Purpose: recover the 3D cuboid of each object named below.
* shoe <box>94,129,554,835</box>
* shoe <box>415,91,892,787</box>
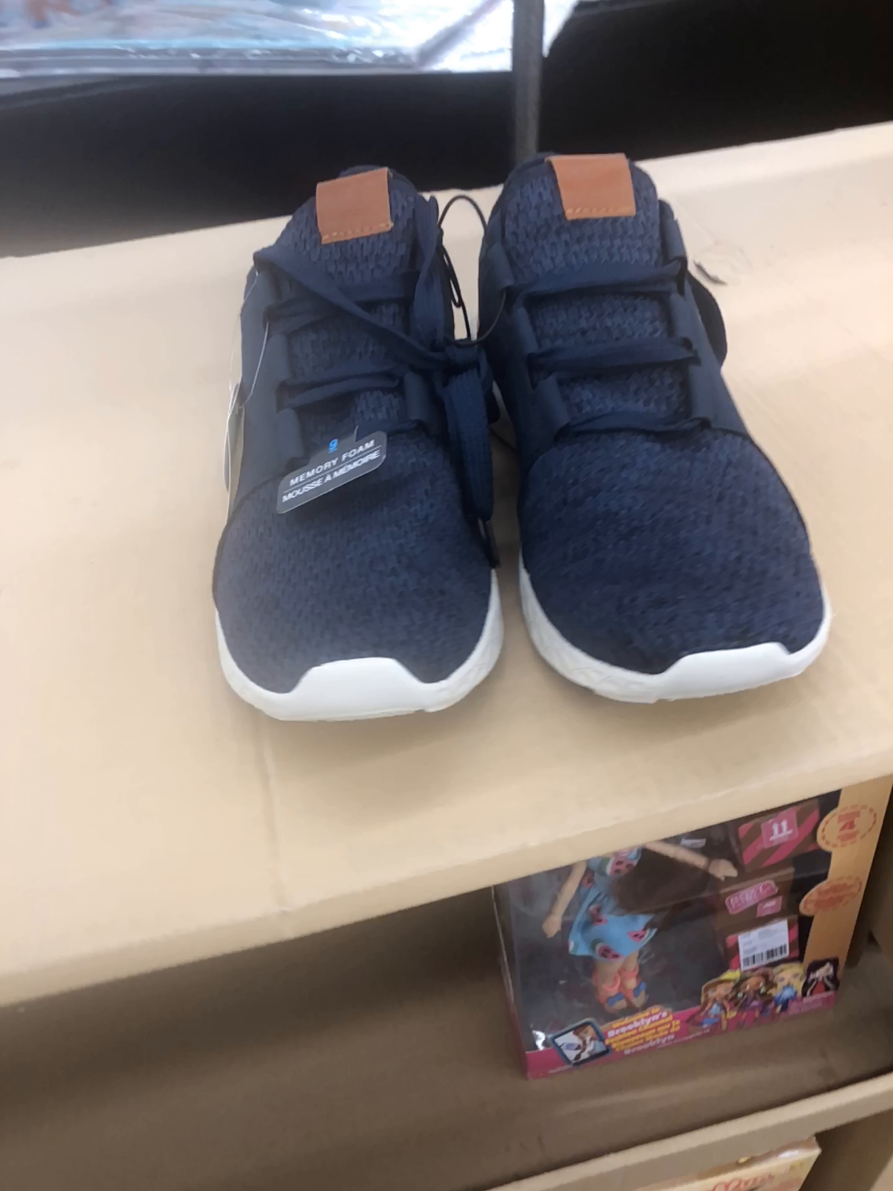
[{"bbox_3d":[-0.034,-0.070,0.390,0.110,0.130,0.291,-5,40,0],"label":"shoe"},{"bbox_3d":[0.069,-0.087,0.379,0.110,0.120,0.291,-9,40,-6],"label":"shoe"}]
